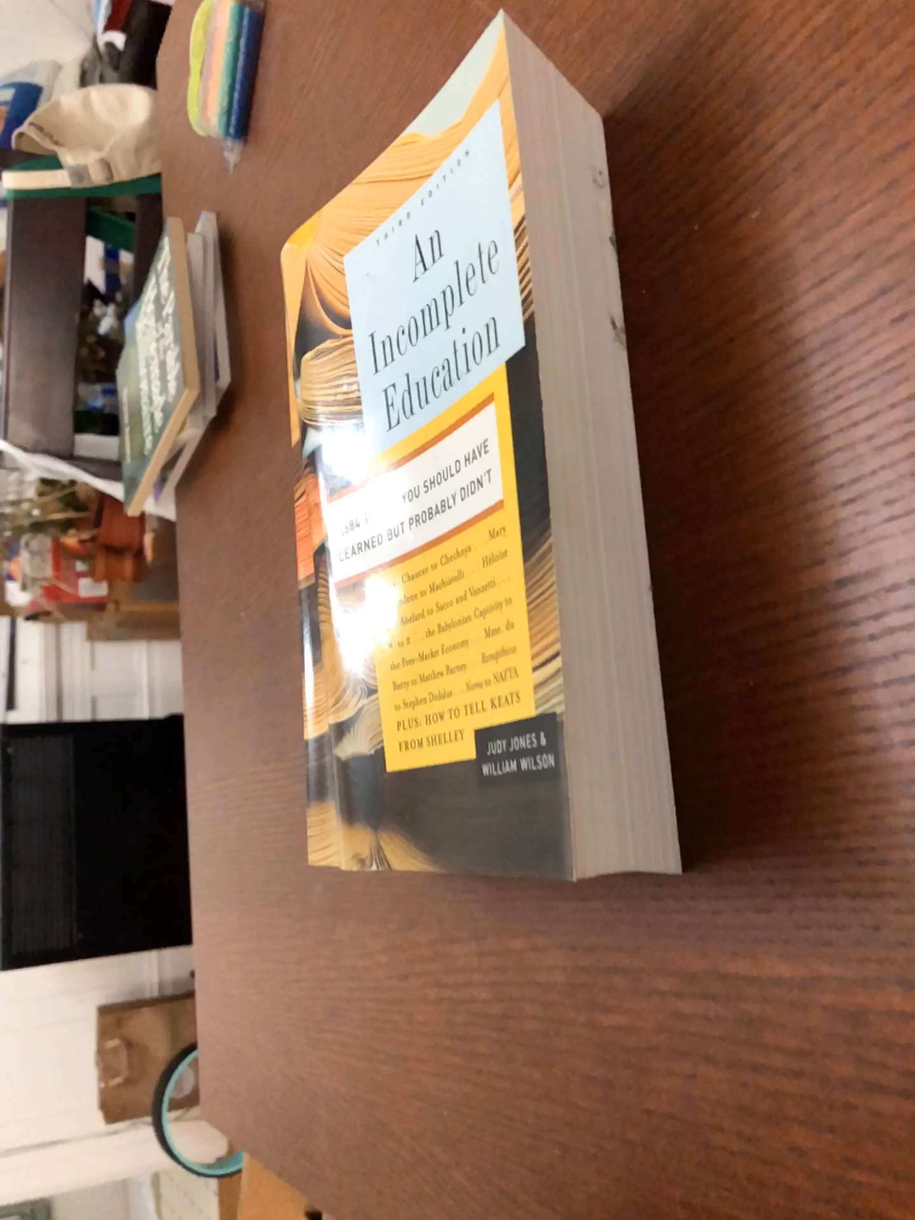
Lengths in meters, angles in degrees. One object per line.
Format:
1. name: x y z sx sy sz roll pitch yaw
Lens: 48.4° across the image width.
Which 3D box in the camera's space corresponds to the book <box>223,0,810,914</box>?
1. book: -0.005 -0.029 0.356 0.211 0.060 0.250 -20 71 51
